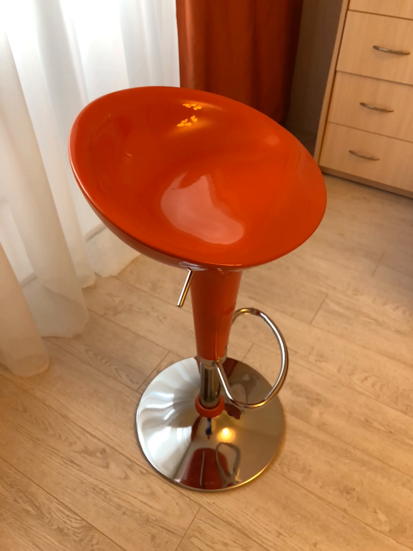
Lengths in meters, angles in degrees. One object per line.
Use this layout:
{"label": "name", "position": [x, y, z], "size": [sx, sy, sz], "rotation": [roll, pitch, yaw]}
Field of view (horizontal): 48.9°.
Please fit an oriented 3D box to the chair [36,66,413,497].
{"label": "chair", "position": [0.026, 0.052, 0.865], "size": [0.420, 0.725, 0.413], "rotation": [-1, 43, -2]}
